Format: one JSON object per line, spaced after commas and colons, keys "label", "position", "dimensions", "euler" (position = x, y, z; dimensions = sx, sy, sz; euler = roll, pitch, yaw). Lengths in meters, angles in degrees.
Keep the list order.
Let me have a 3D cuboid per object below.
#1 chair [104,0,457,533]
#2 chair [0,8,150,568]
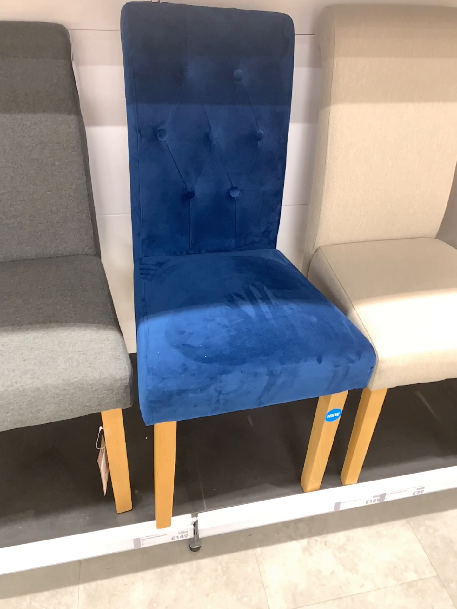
{"label": "chair", "position": [0.009, -0.065, 0.978], "dimensions": [0.433, 0.929, 0.524], "euler": [-5, 36, -14]}
{"label": "chair", "position": [-0.437, -0.053, 0.957], "dimensions": [0.413, 0.889, 0.624], "euler": [-8, 36, -16]}
